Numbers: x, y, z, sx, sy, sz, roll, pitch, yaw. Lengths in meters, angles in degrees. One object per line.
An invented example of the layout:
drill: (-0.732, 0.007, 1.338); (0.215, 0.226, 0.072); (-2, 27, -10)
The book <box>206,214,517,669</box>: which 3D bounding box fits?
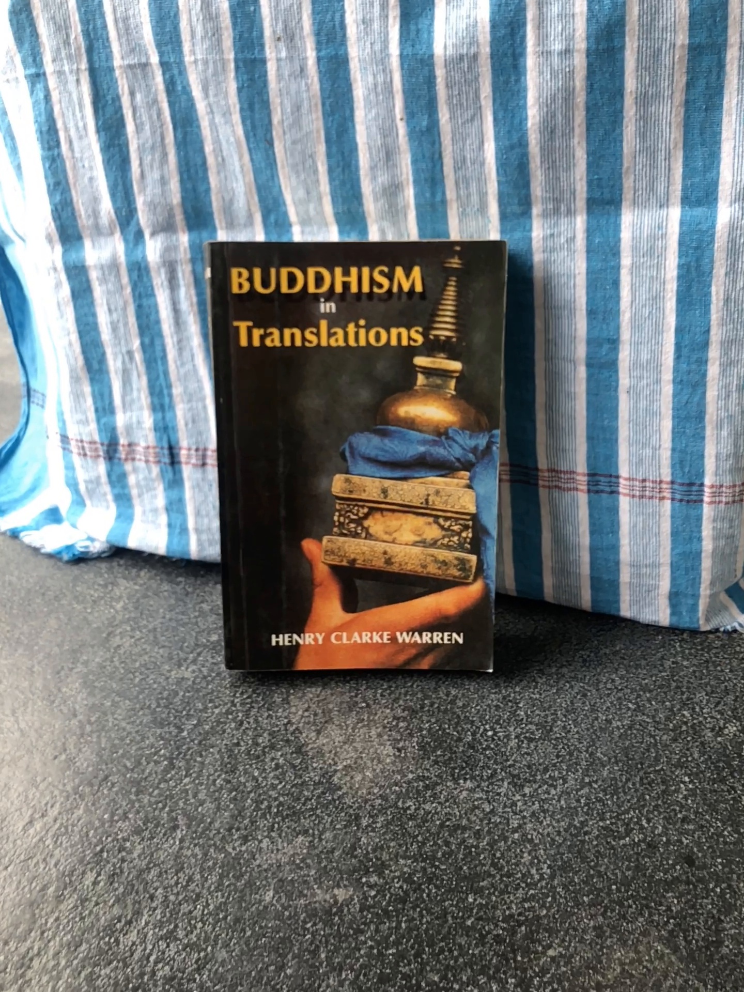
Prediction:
book: (-0.004, -0.025, 0.408); (0.140, 0.210, 0.050); (0, 6, 1)
